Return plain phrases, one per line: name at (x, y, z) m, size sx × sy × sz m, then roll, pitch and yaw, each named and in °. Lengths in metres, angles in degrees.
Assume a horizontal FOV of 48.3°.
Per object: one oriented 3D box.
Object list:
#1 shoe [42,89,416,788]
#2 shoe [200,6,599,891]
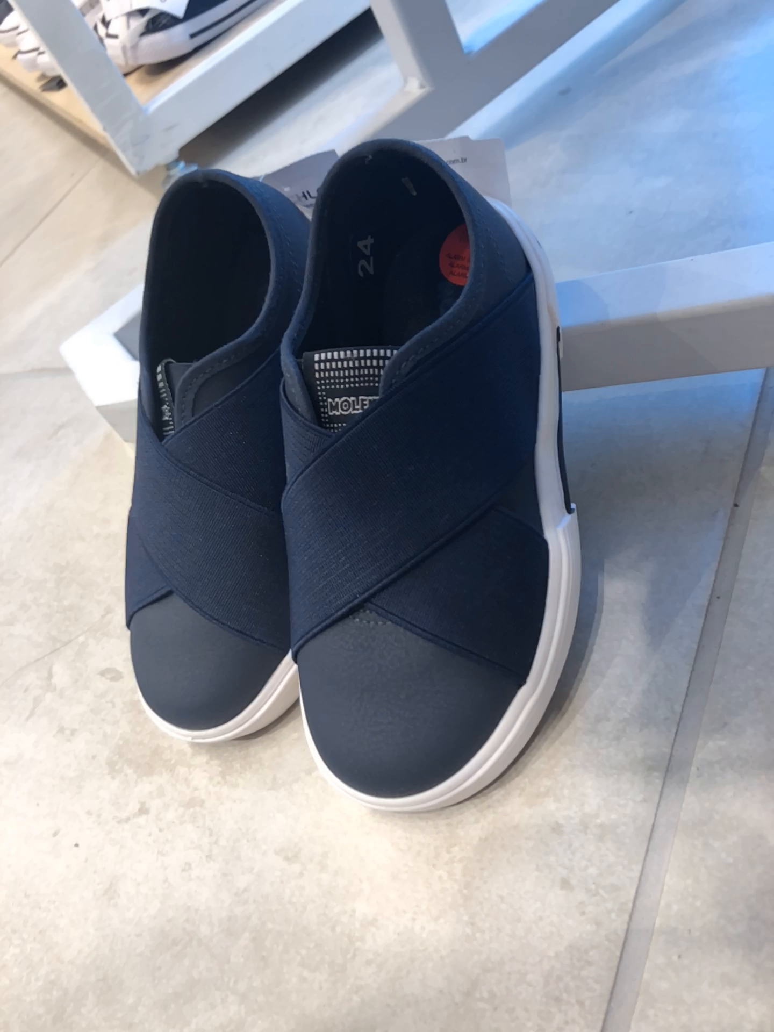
shoe at (-0.043, -0.020, 0.266) m, size 0.070 × 0.070 × 0.180 m, roll 1°, pitch 83°, yaw 27°
shoe at (0.009, -0.014, 0.220) m, size 0.070 × 0.070 × 0.180 m, roll -3°, pitch 81°, yaw 31°
